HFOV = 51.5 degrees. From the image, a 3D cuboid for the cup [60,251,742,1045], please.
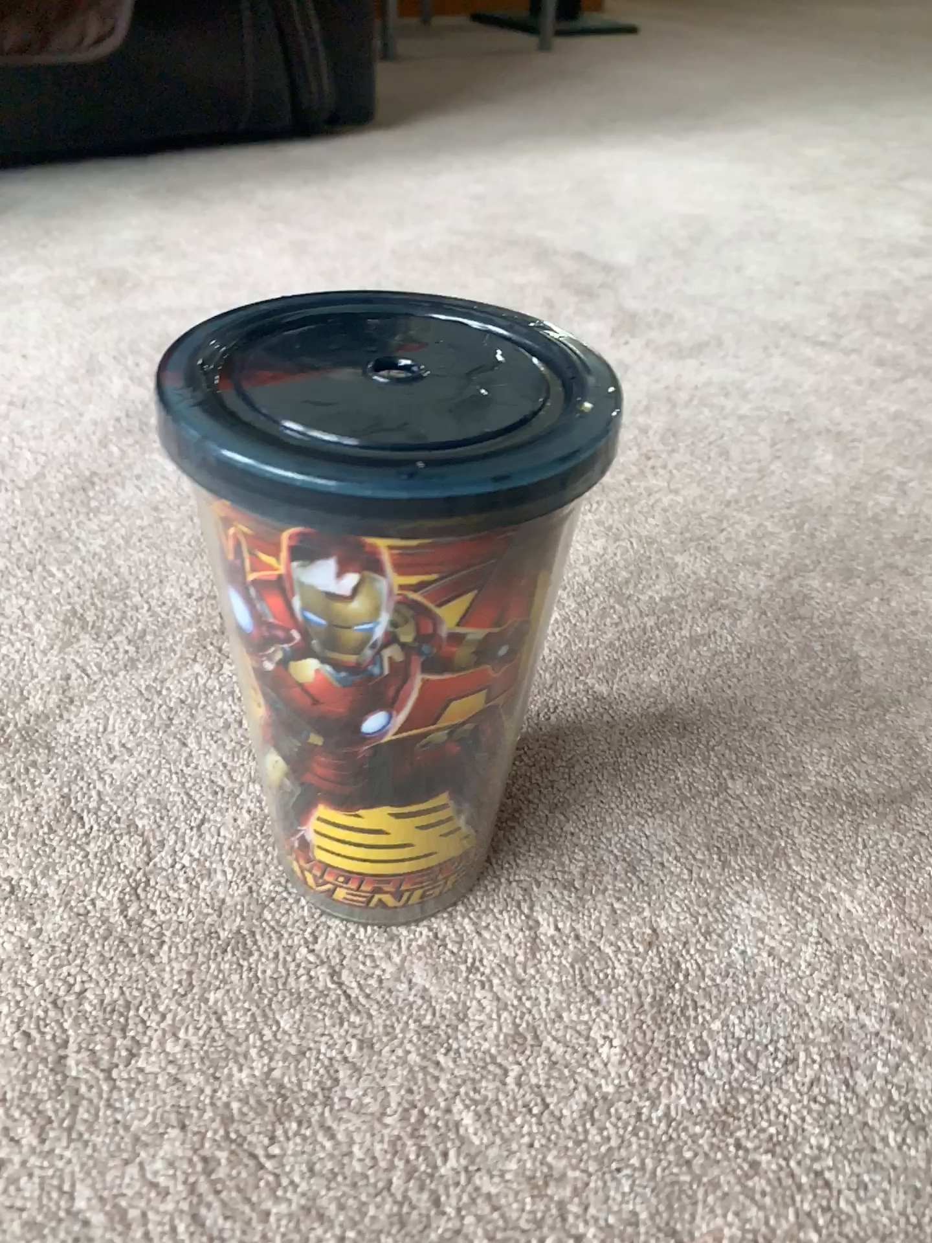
[{"bbox_3d":[-0.013,0.000,0.241,0.100,0.139,0.101,2,36,-2],"label":"cup"}]
